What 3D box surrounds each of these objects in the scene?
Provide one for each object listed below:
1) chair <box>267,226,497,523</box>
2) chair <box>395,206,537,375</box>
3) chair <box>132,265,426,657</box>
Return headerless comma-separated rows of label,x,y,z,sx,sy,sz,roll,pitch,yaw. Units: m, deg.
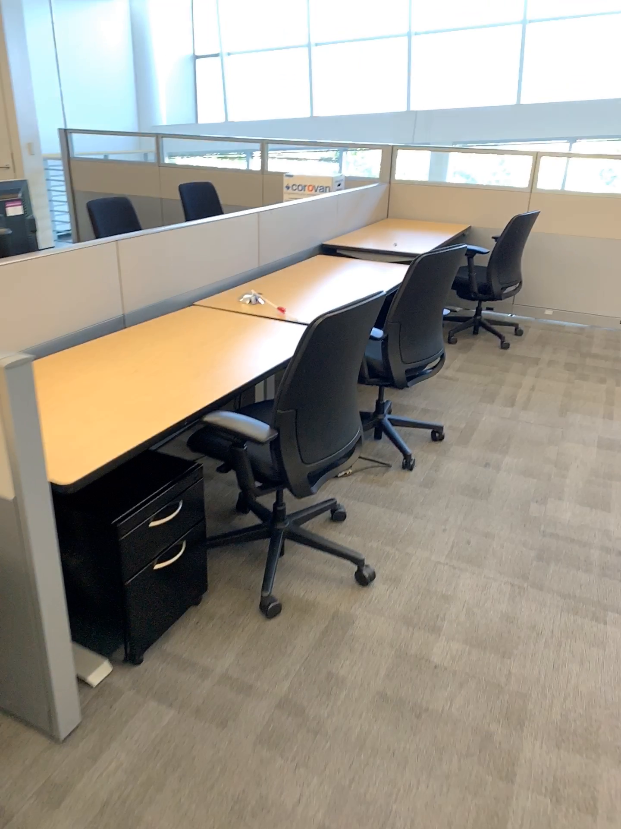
chair,0.310,-0.260,3.187,0.751,1.184,0.763,-18,31,-37
chair,1.324,-1.113,5.530,0.751,1.233,0.763,-18,31,-37
chair,-0.111,0.111,2.523,0.762,1.184,0.752,17,28,31
